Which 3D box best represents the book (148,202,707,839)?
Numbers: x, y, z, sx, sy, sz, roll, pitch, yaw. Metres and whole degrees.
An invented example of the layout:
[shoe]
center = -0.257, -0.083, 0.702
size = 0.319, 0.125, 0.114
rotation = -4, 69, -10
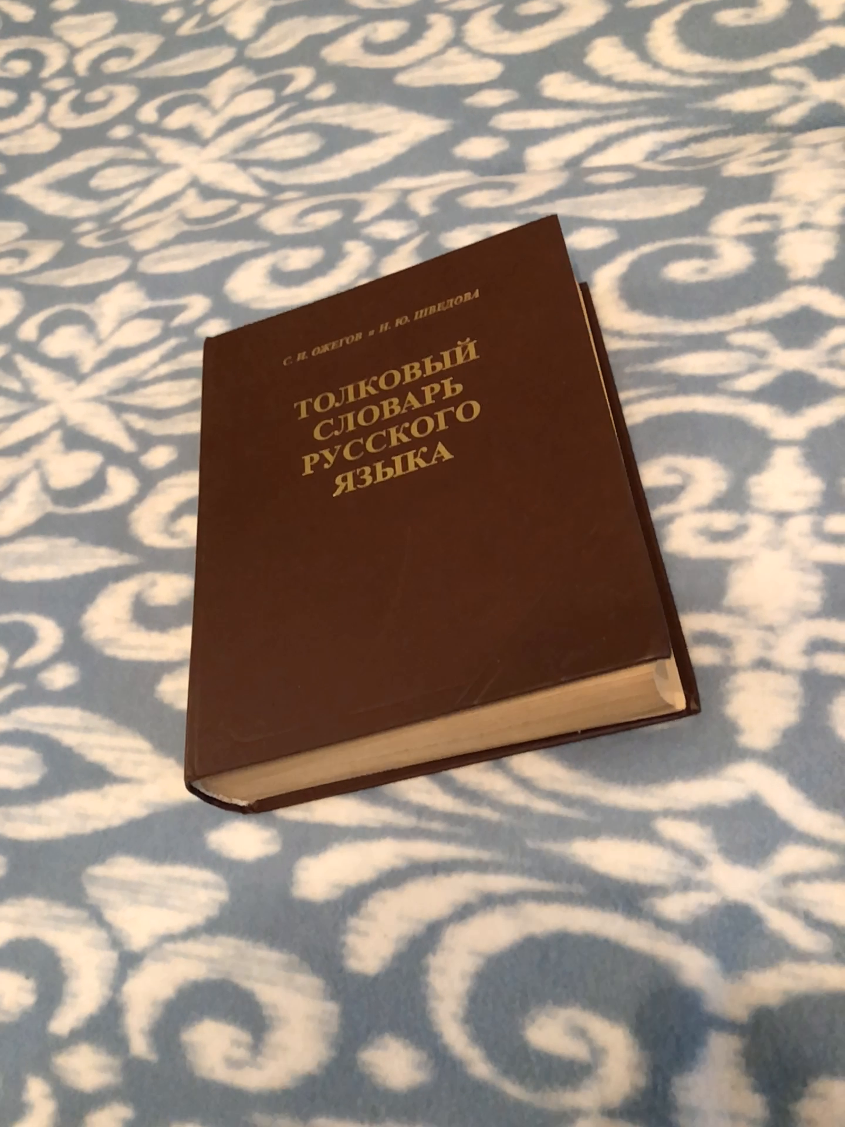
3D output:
[book]
center = -0.009, -0.028, 0.457
size = 0.220, 0.067, 0.271
rotation = -15, 55, 14
